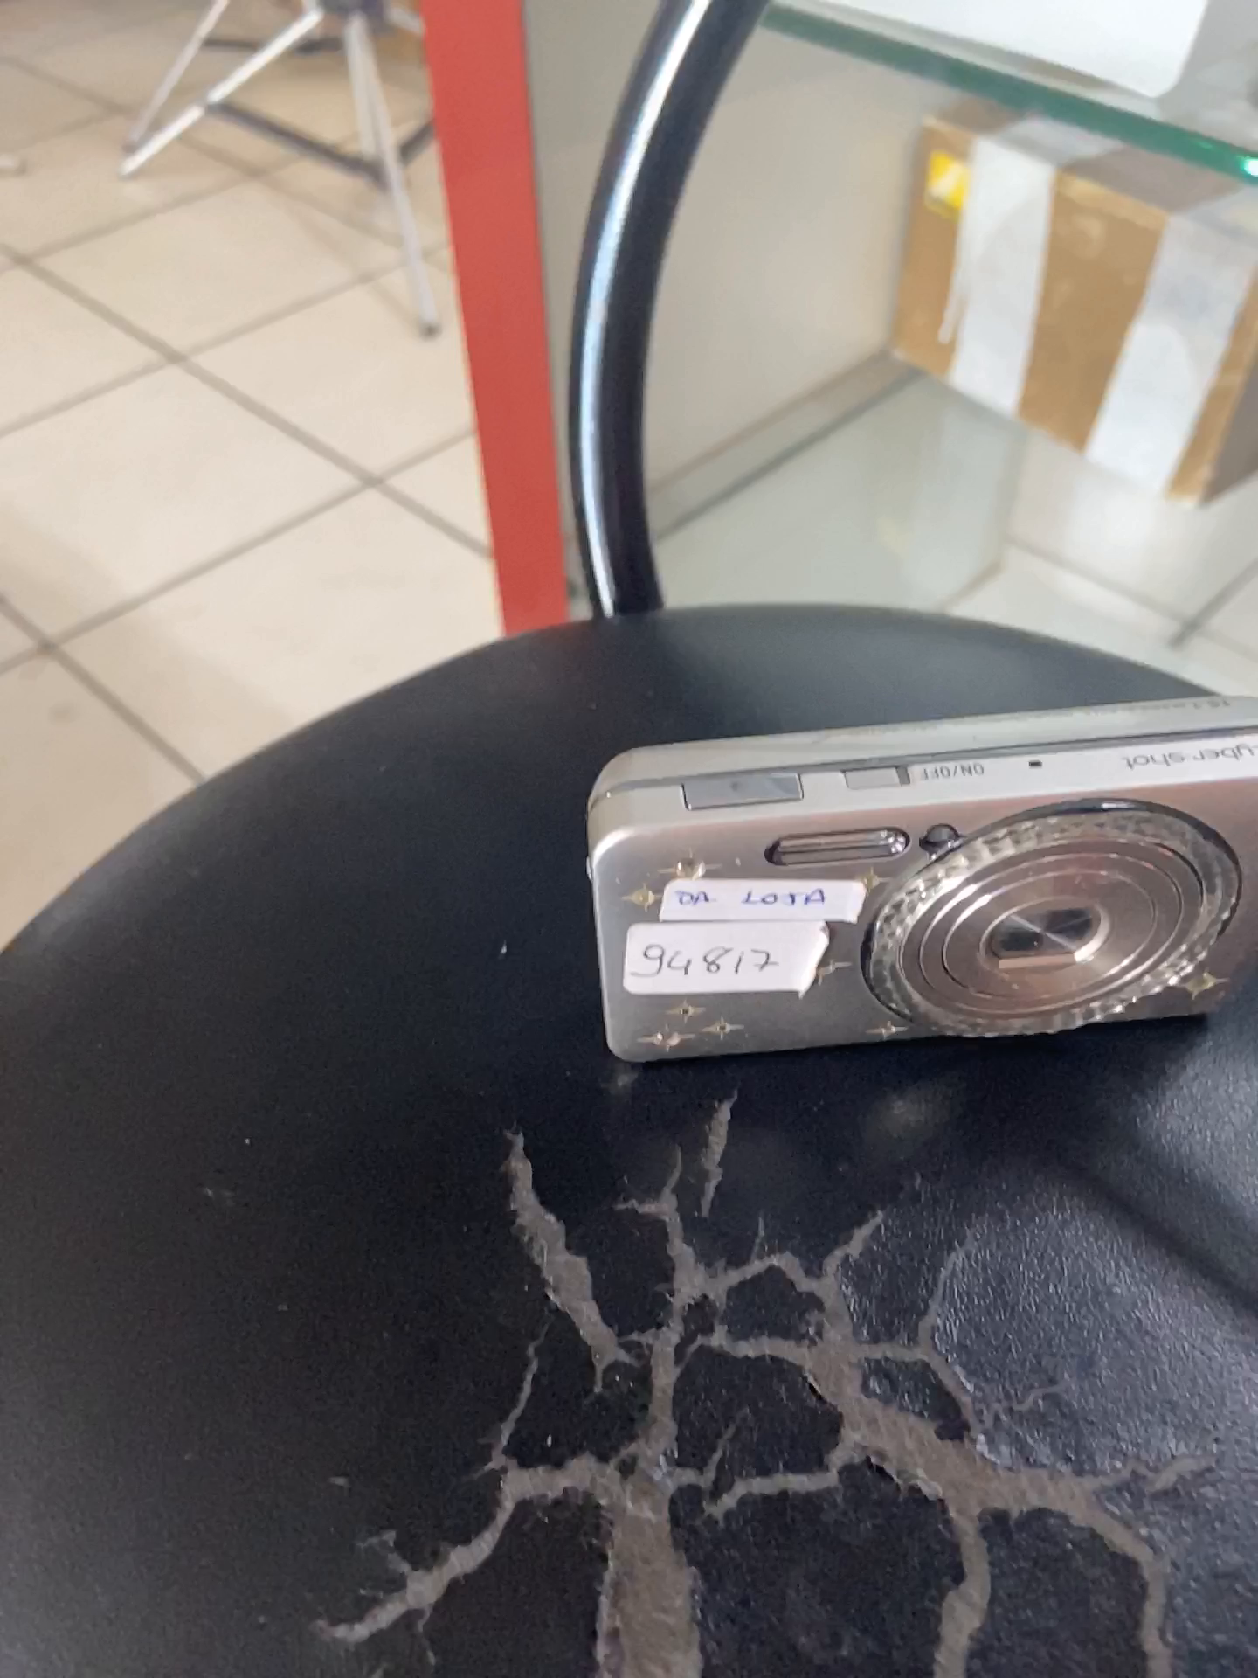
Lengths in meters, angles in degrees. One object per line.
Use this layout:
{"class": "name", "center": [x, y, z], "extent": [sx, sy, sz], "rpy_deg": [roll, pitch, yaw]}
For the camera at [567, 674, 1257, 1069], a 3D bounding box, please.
{"class": "camera", "center": [0.040, 0.005, 0.173], "extent": [0.092, 0.042, 0.022], "rpy_deg": [-5, 48, -3]}
